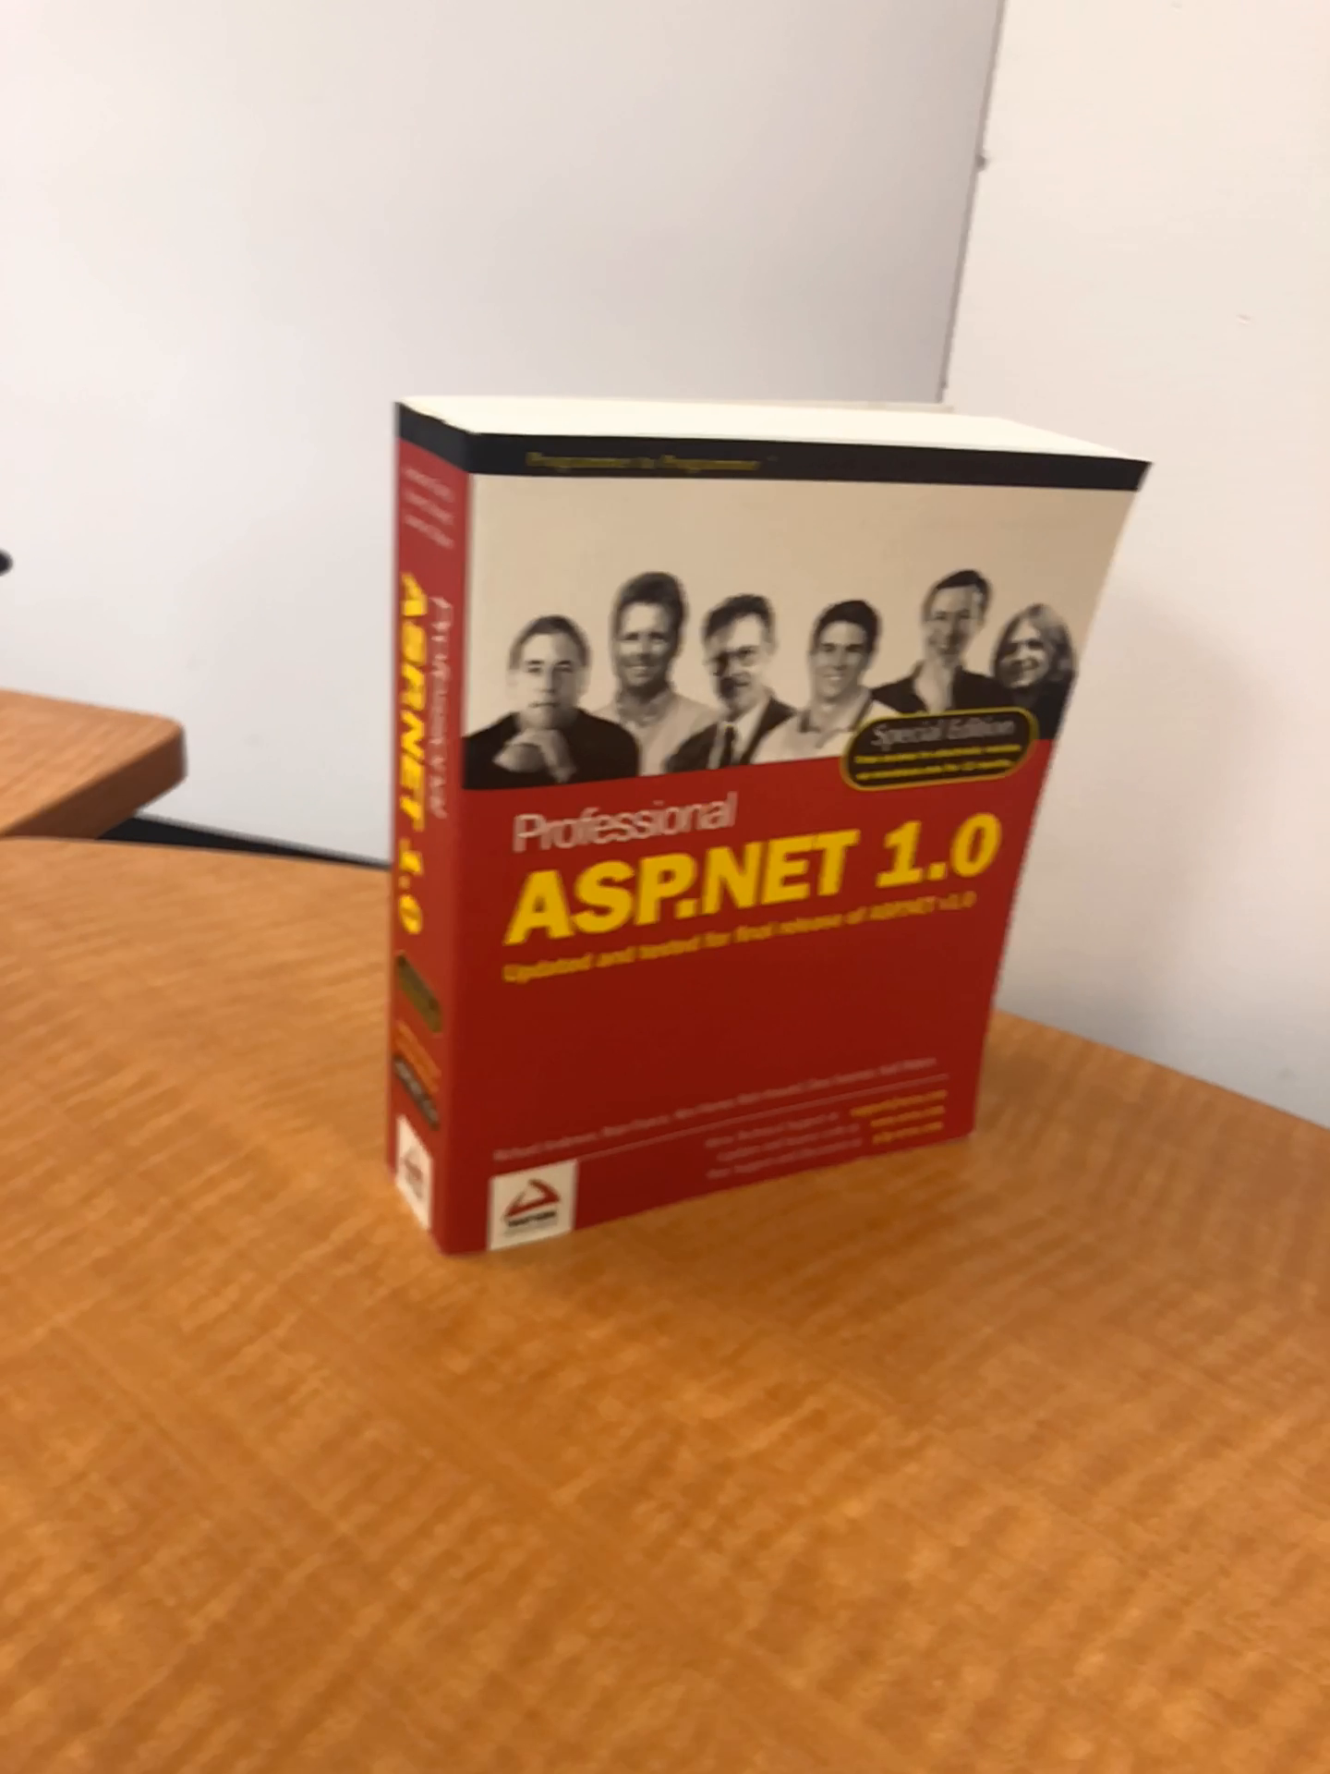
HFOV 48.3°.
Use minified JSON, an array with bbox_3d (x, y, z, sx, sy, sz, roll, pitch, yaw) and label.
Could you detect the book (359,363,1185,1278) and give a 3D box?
[{"bbox_3d":[0.025,-0.020,0.420,0.210,0.229,0.050,-7,28,-26],"label":"book"}]
